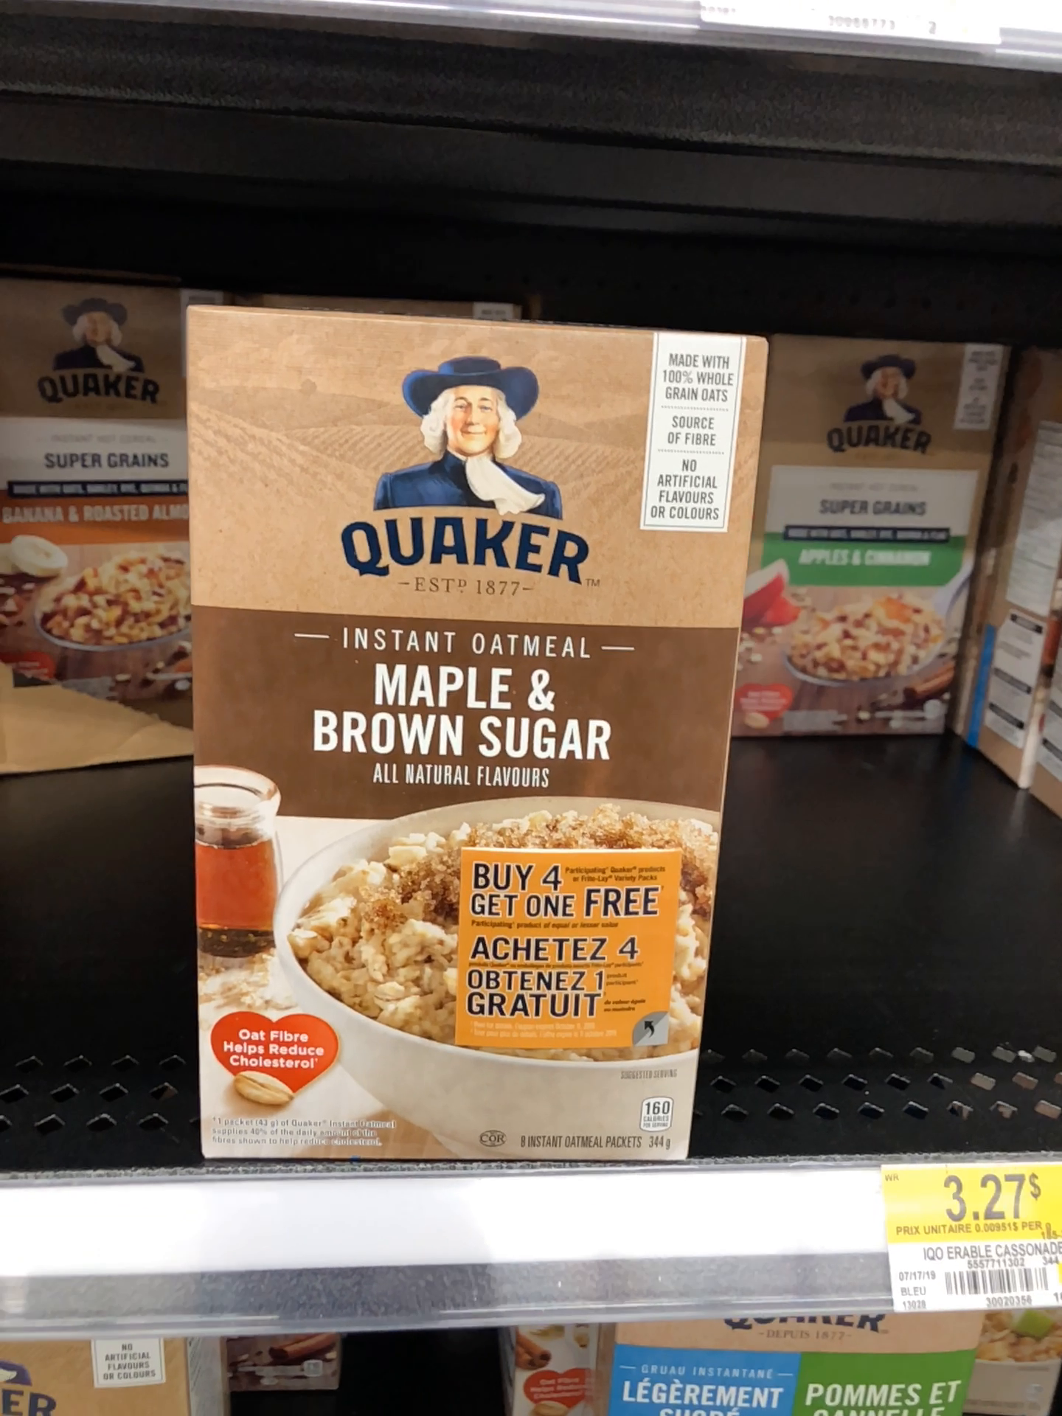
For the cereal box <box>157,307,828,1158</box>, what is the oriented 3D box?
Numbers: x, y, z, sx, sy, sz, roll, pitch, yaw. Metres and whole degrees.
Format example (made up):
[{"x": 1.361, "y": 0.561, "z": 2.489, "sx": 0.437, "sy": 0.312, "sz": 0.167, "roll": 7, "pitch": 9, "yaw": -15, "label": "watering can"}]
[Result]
[{"x": -0.012, "y": 0.007, "z": 0.283, "sx": 0.130, "sy": 0.189, "sz": 0.060, "roll": 2, "pitch": 16, "yaw": -4, "label": "cereal box"}]

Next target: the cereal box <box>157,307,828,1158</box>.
[{"x": -0.012, "y": 0.007, "z": 0.283, "sx": 0.130, "sy": 0.189, "sz": 0.060, "roll": 2, "pitch": 16, "yaw": -4, "label": "cereal box"}]
